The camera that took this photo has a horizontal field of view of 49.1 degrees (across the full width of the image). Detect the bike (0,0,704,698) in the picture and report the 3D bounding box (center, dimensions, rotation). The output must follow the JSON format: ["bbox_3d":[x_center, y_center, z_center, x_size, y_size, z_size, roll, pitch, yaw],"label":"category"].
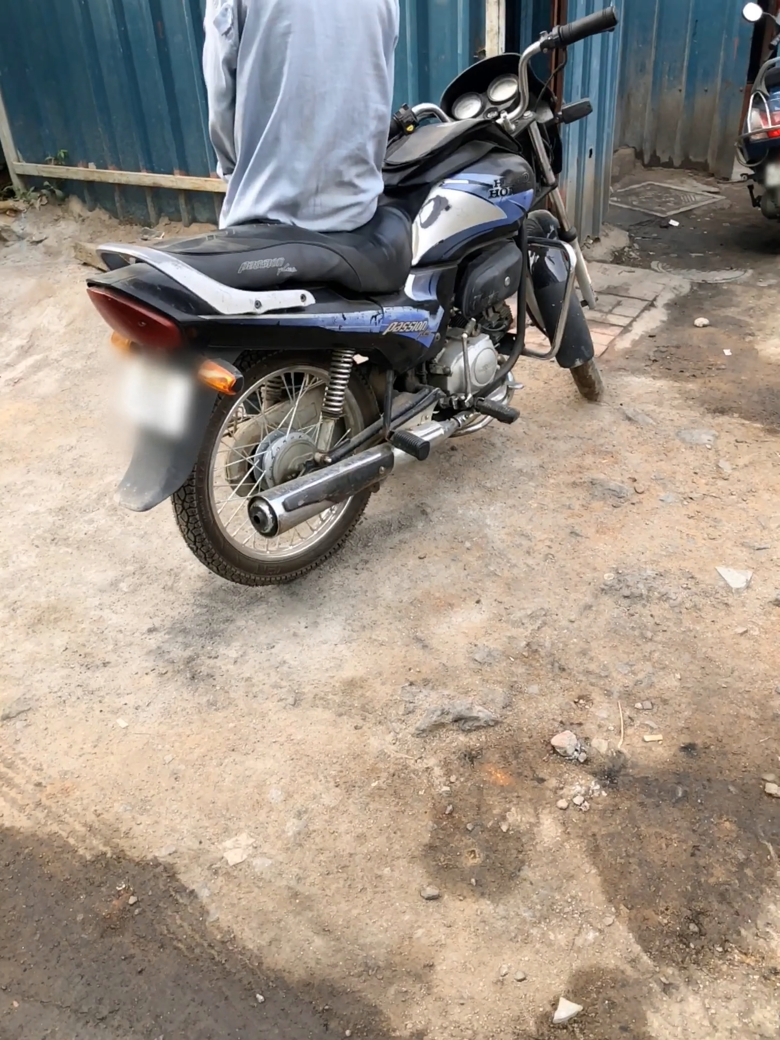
[{"bbox_3d":[0.055,-0.690,2.290,0.784,1.154,1.810,20,42,32],"label":"bike"}]
